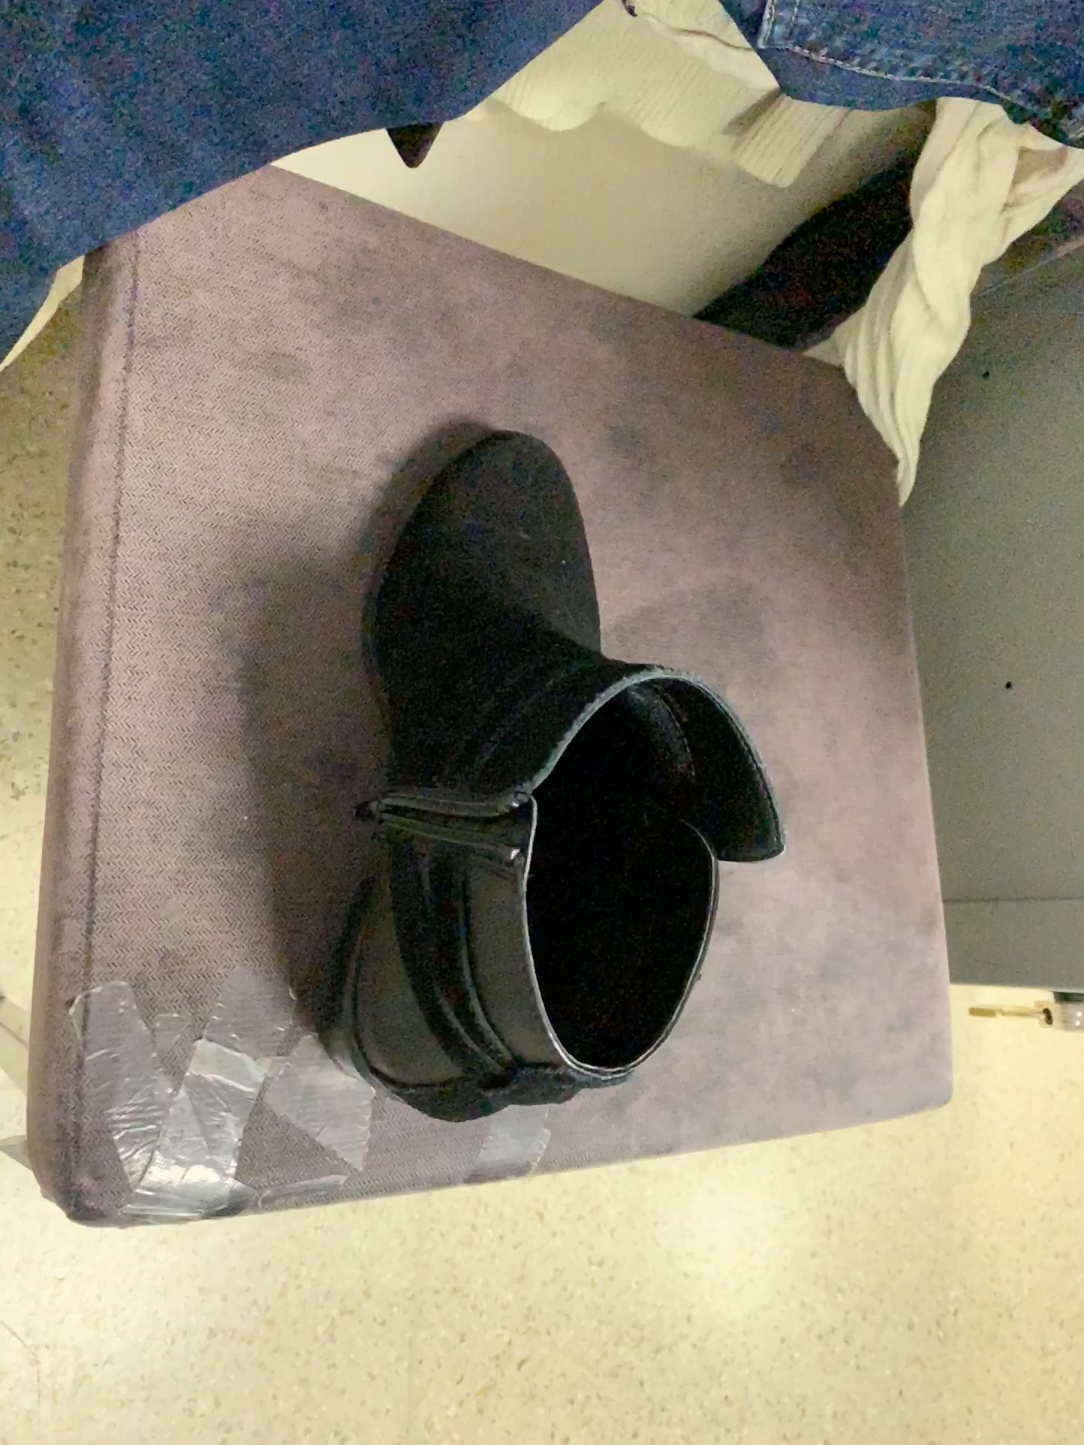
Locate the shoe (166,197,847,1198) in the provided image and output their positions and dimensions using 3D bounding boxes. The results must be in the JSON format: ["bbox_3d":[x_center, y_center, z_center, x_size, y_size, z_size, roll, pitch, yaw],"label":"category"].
[{"bbox_3d":[-0.007,-0.006,0.368,0.105,0.135,0.266,26,67,-26],"label":"shoe"}]
